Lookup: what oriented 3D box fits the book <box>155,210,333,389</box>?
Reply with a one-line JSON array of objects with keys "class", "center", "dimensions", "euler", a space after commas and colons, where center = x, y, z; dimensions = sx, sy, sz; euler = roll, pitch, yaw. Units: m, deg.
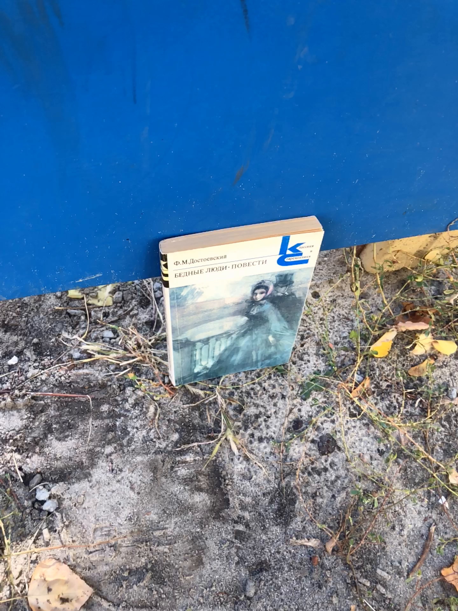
[{"class": "book", "center": [0.007, 0.004, 0.442], "dimensions": [0.127, 0.187, 0.026], "euler": [-10, 54, -11]}]
